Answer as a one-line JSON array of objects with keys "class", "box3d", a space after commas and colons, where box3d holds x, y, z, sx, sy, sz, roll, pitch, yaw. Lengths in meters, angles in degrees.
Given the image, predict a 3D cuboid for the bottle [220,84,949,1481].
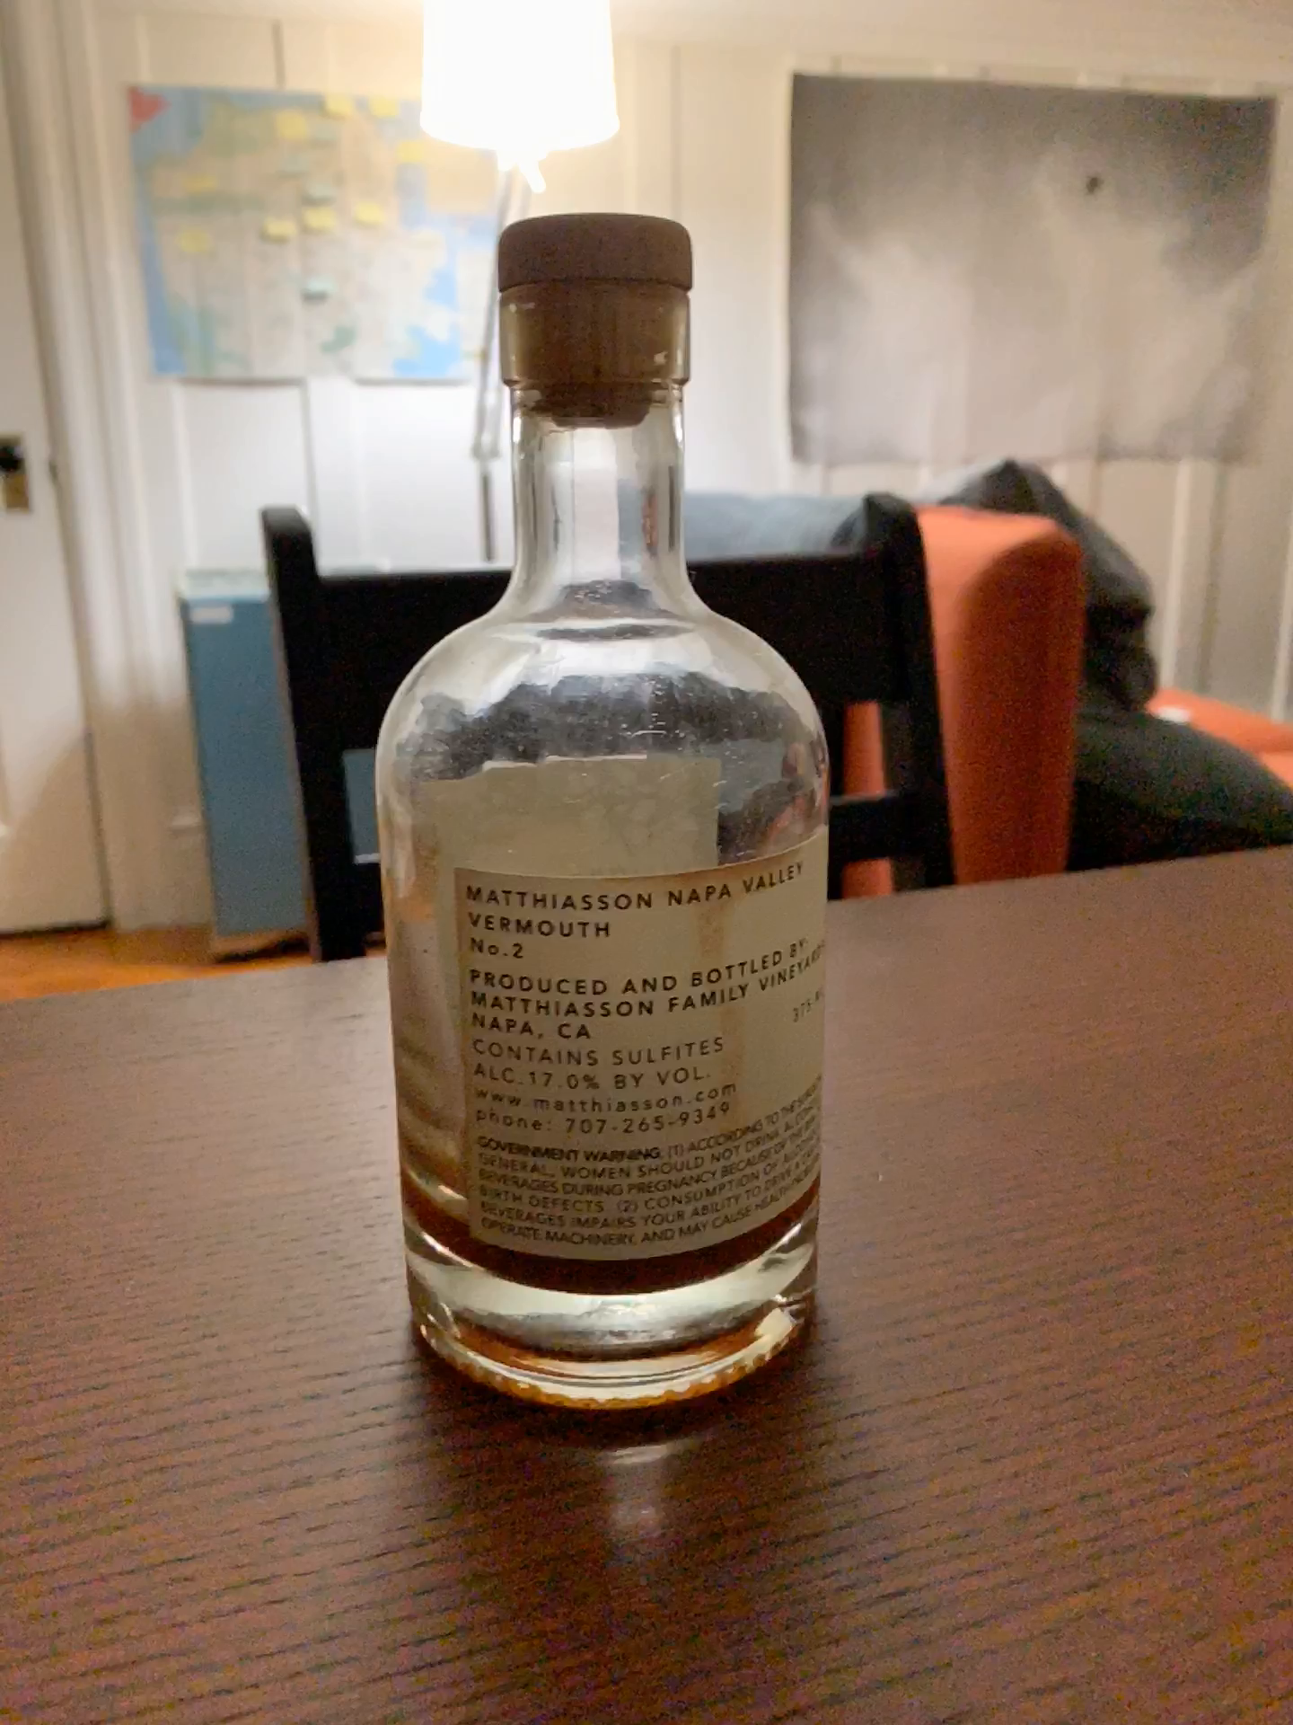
[{"class": "bottle", "box3d": [-0.014, -0.013, 0.230, 0.090, 0.189, 0.080, -6, 17, -19]}]
